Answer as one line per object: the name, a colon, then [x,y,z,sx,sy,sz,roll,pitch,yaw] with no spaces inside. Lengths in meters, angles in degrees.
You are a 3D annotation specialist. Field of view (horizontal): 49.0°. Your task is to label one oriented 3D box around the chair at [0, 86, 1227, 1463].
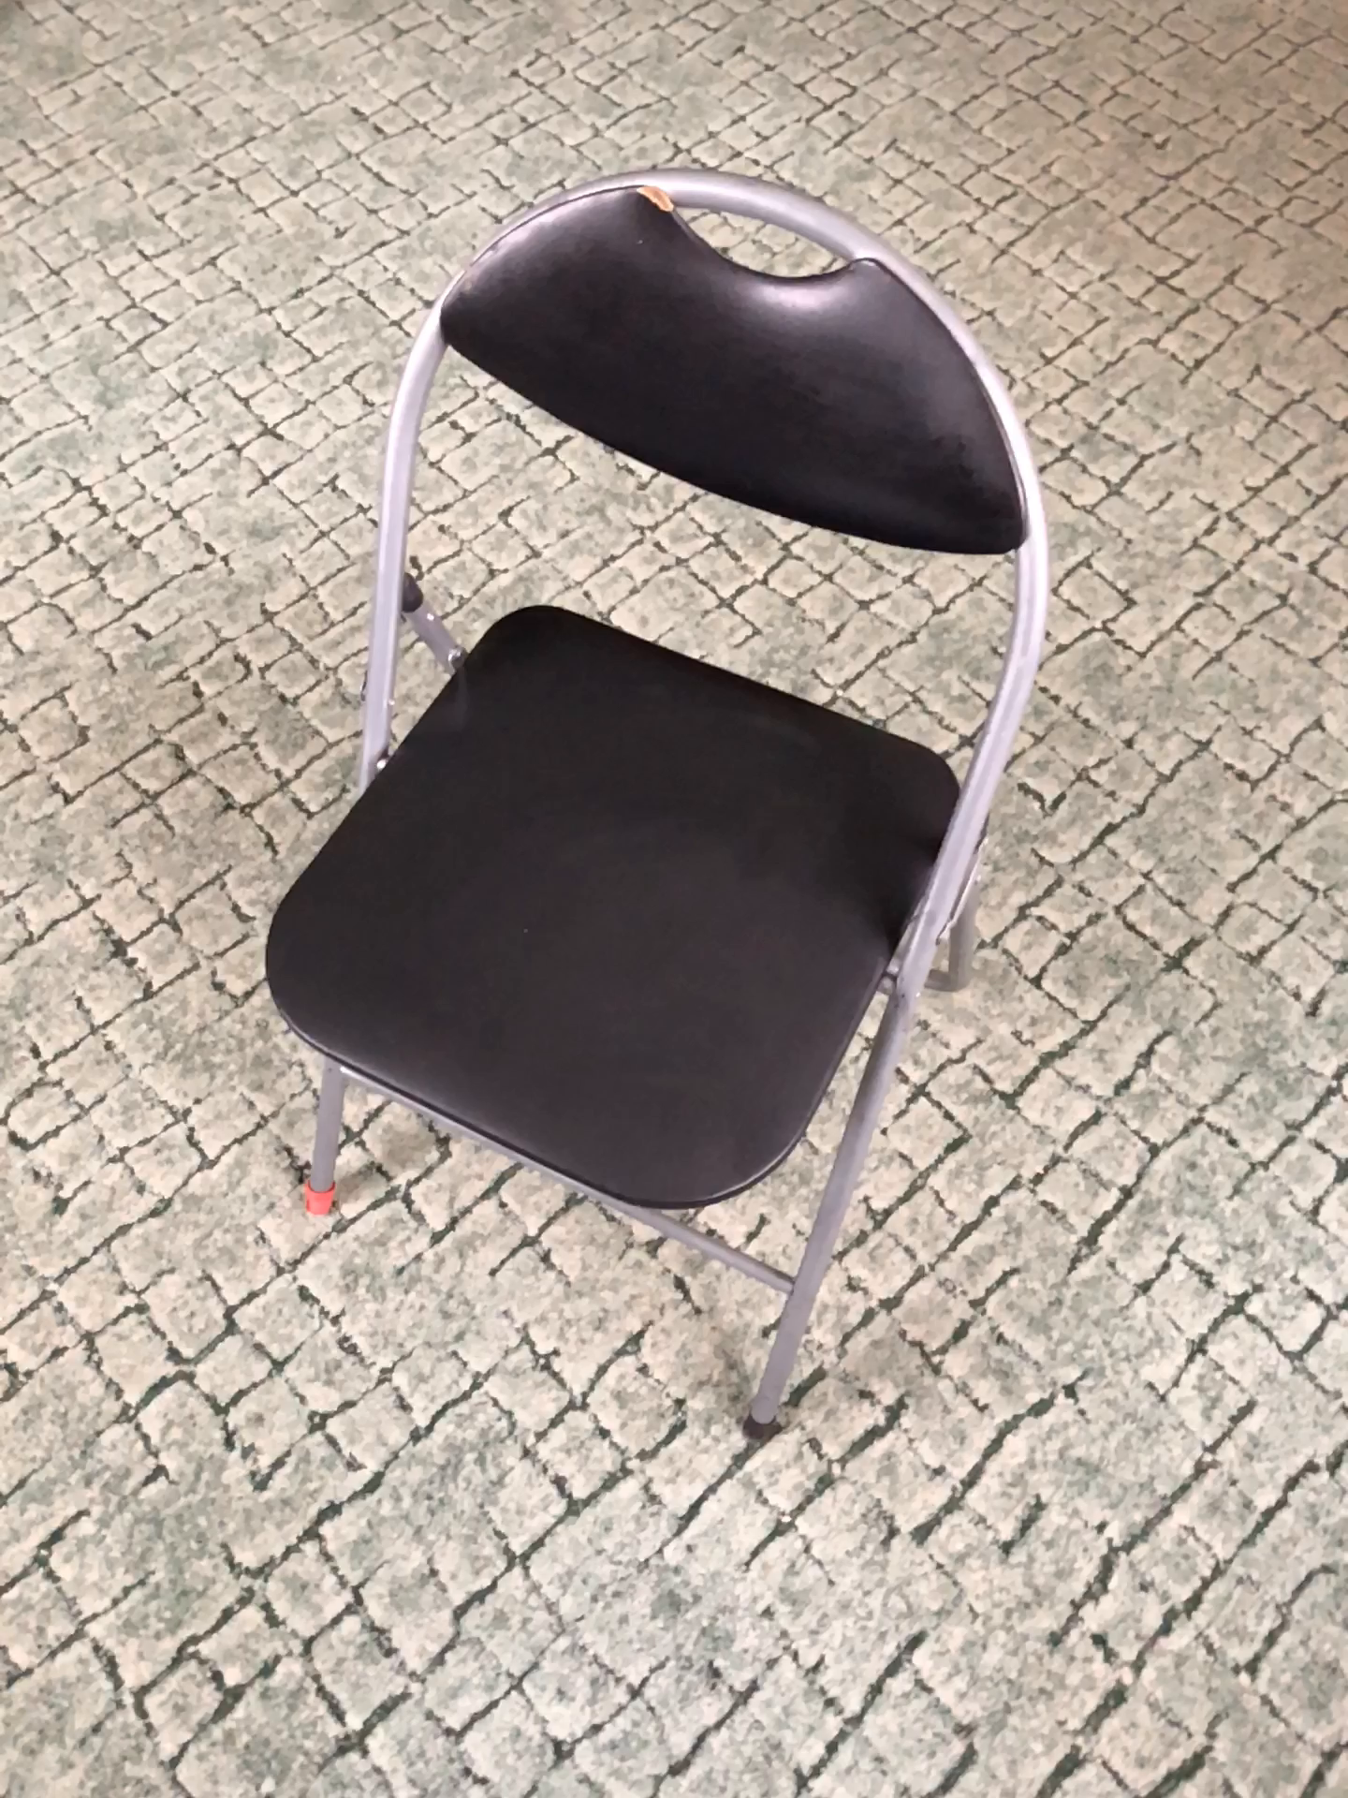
chair: [-0.027,-0.015,1.012,0.456,0.733,0.476,23,62,14]
